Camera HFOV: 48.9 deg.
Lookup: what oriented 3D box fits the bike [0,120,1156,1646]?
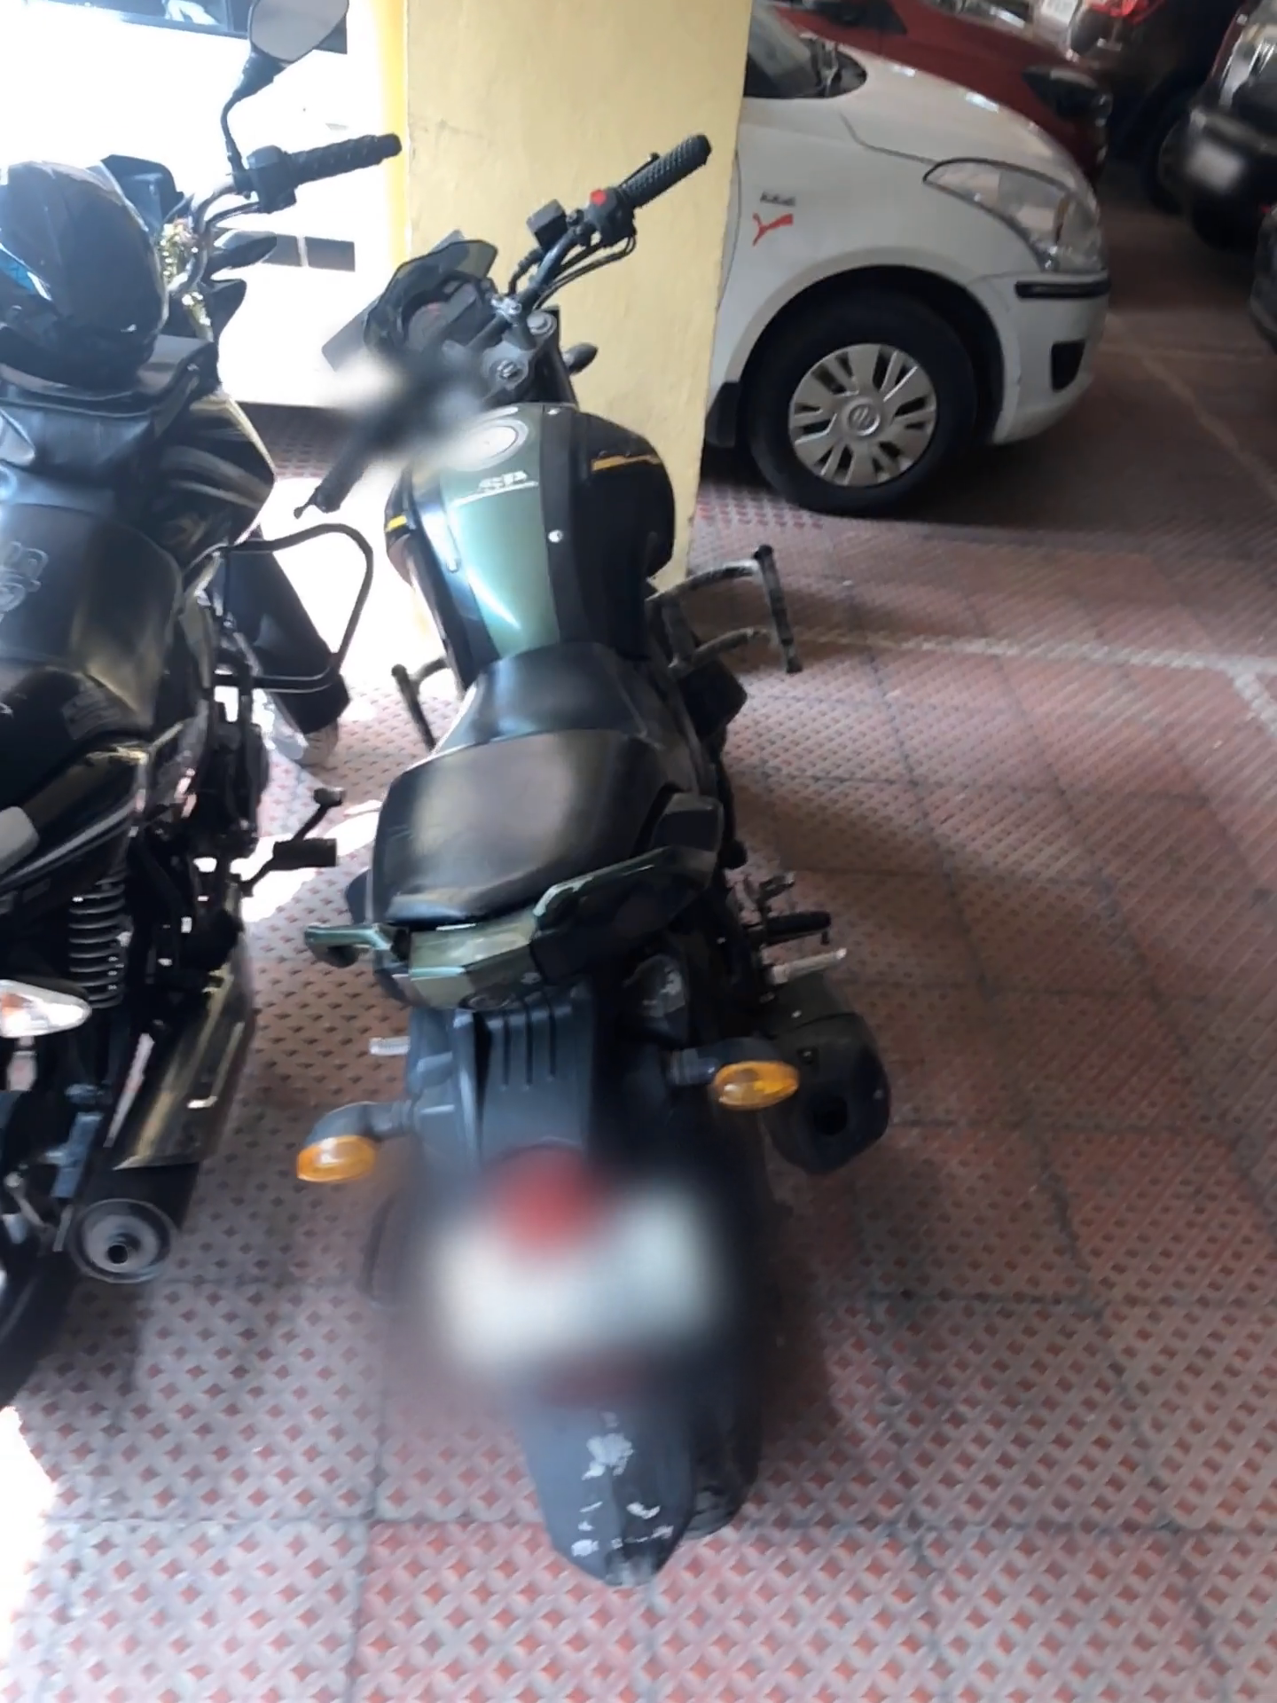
[{"bbox_3d":[-0.266,-0.185,1.795,0.739,1.090,1.817,-1,35,-9],"label":"bike"}]
